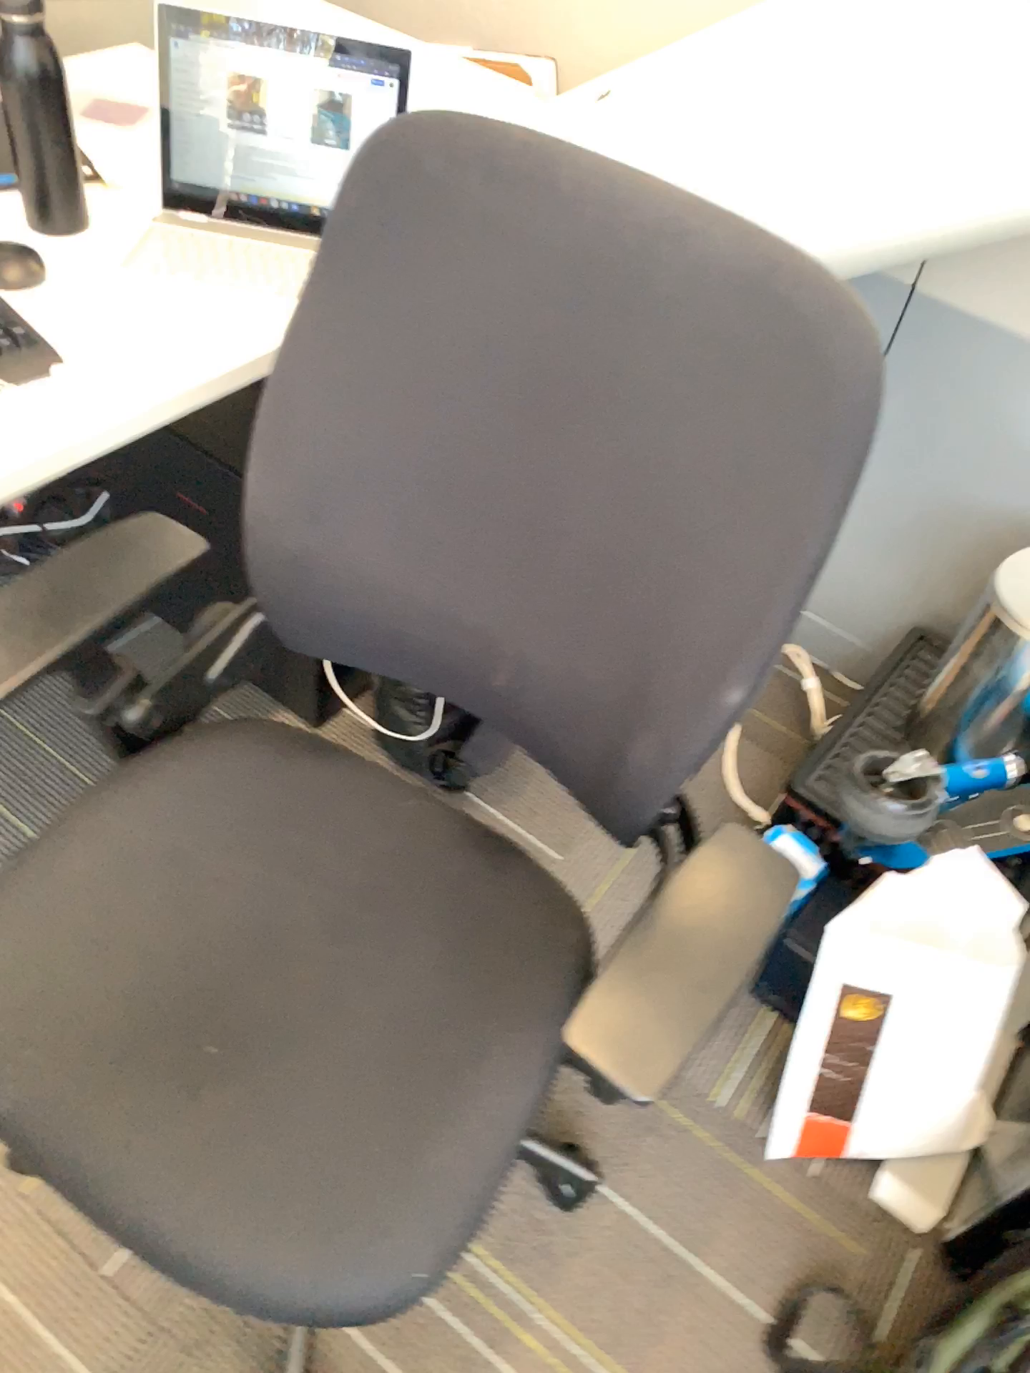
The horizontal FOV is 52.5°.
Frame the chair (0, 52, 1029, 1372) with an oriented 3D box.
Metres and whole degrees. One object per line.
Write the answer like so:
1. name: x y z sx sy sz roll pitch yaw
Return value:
1. chair: -0.129 0.250 1.079 0.581 1.364 0.632 33 51 19
